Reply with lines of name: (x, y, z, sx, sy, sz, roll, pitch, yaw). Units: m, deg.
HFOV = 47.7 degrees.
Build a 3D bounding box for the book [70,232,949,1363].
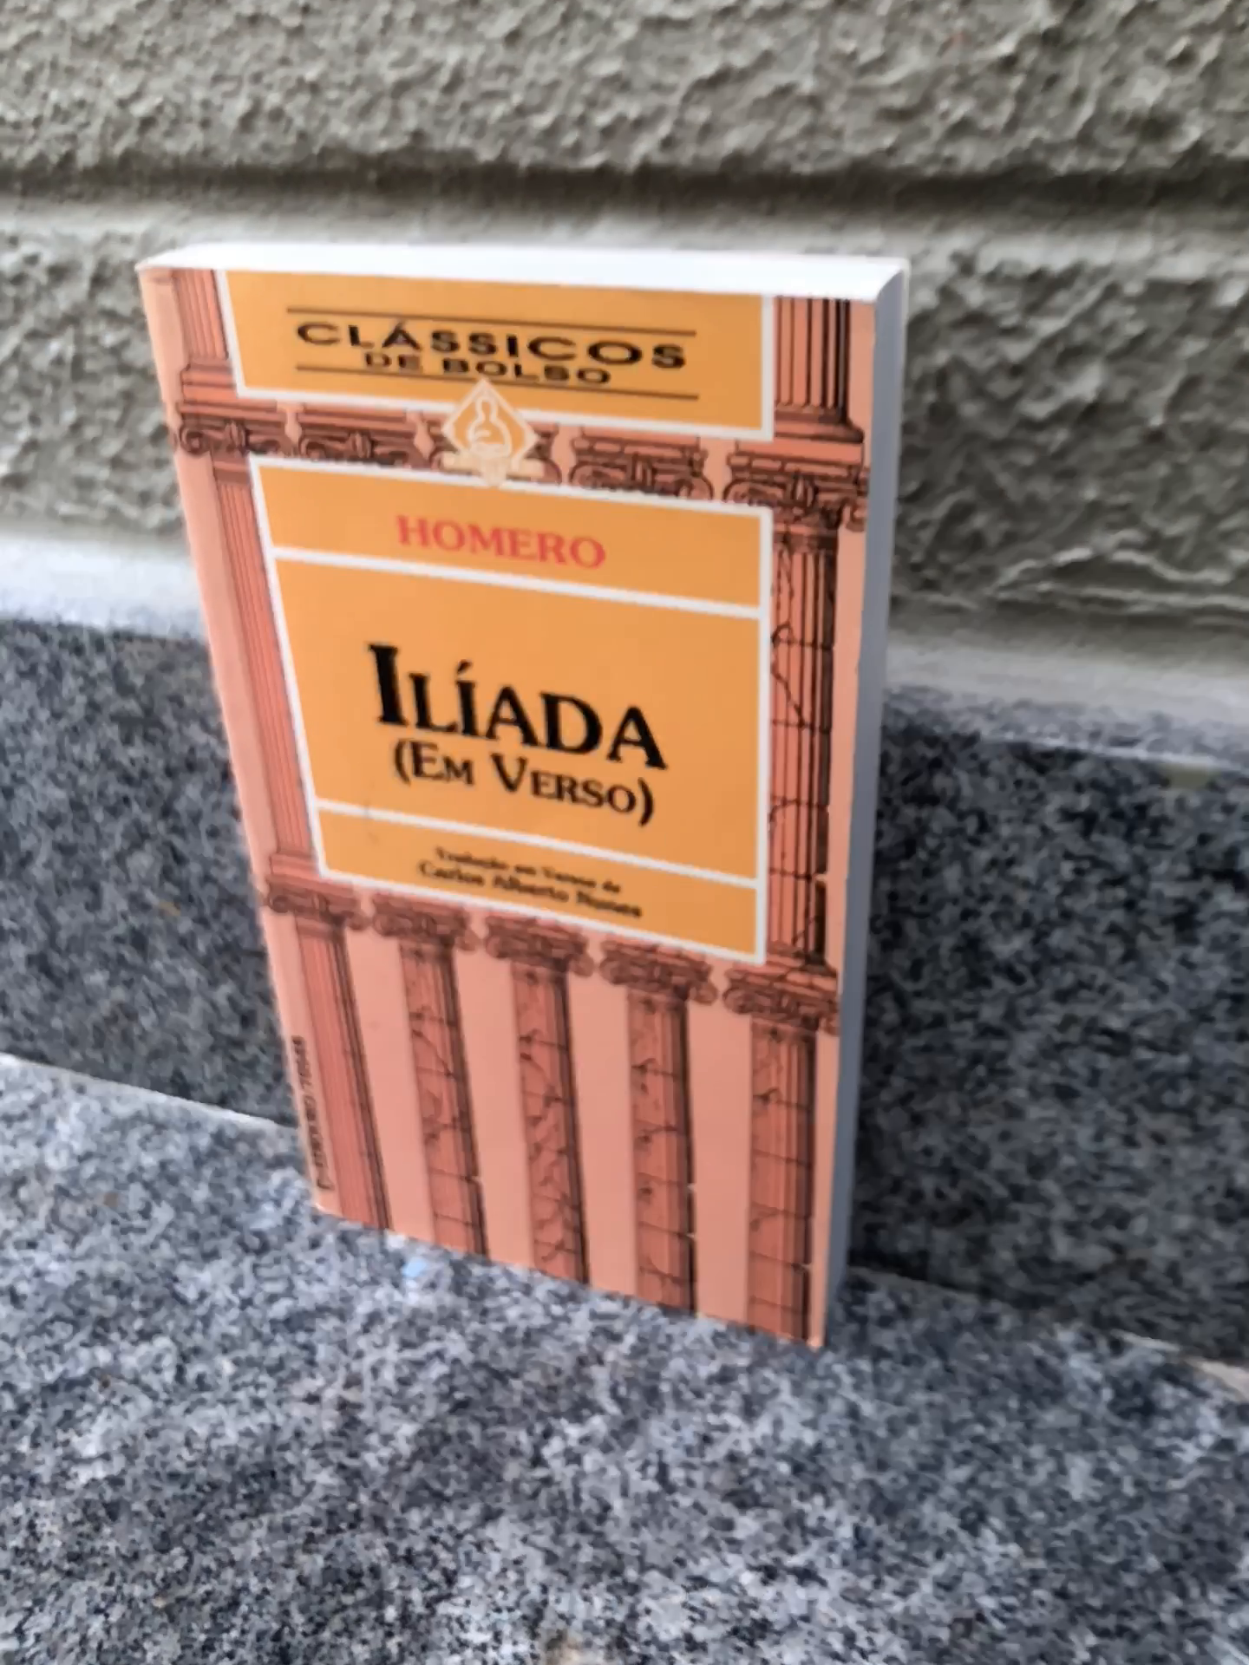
book: (-0.018, 0.002, 0.280, 0.139, 0.218, 0.030, 9, 33, 18)
